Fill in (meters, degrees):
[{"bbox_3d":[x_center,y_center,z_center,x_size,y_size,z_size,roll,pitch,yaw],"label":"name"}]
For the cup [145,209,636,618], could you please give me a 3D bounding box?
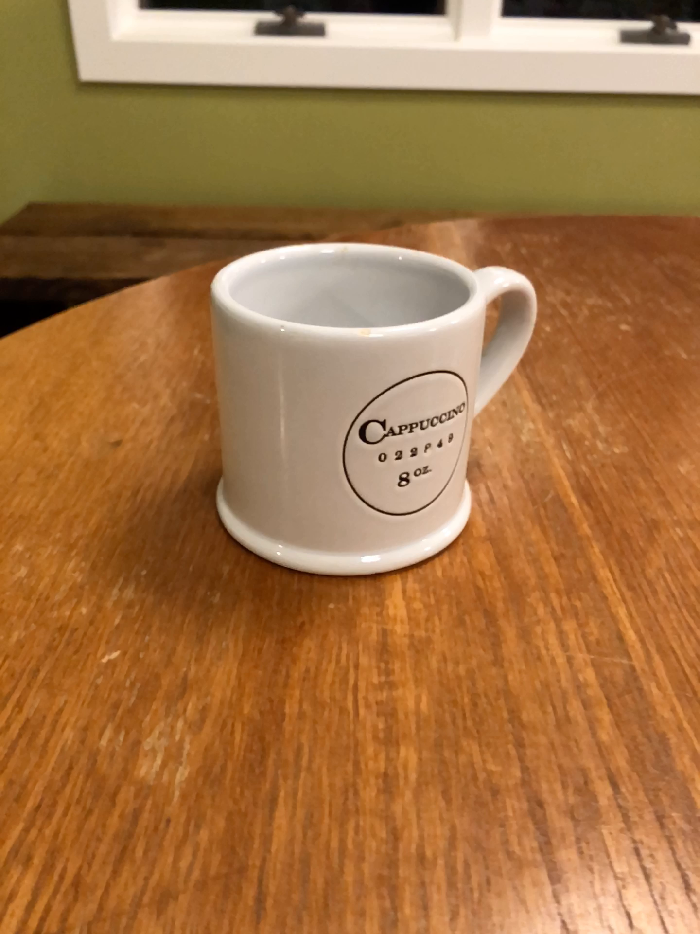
[{"bbox_3d":[0.015,-0.031,0.277,0.136,0.082,0.090,-22,38,-33],"label":"cup"}]
